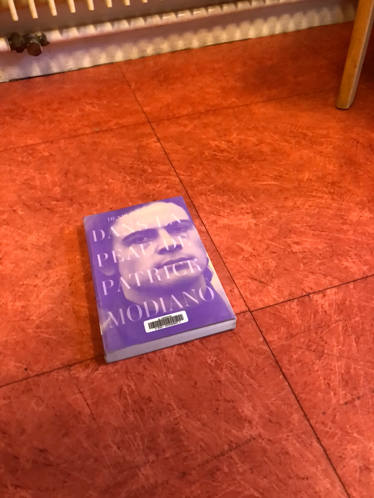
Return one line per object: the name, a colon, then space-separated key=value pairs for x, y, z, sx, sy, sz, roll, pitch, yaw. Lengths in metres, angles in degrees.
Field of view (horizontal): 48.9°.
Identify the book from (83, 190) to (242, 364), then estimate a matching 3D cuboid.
book: x=-0.043 y=0.019 z=0.529 sx=0.150 sy=0.030 sz=0.233 roll=-13 pitch=46 yaw=-10
